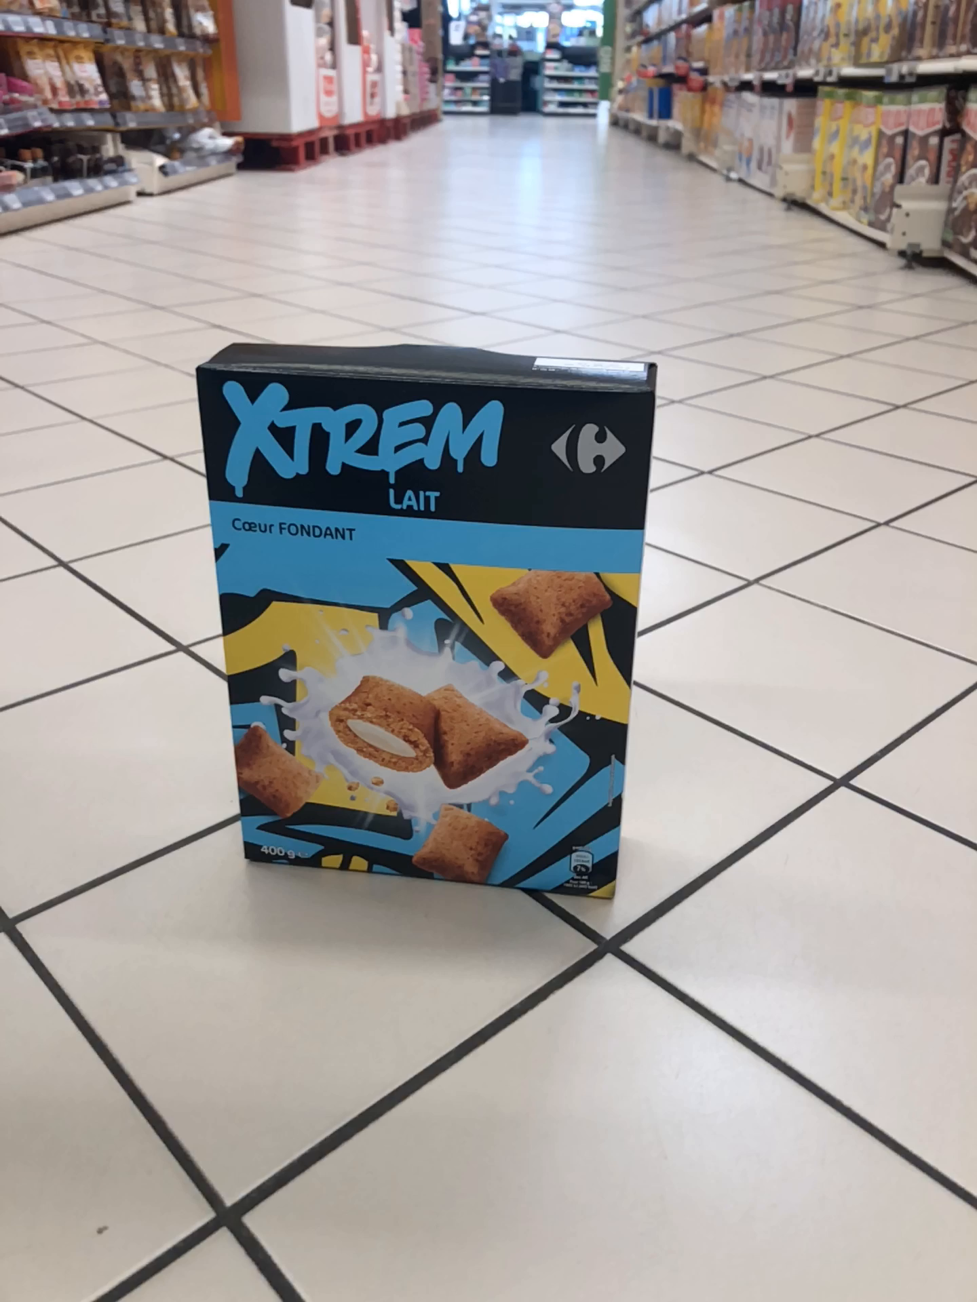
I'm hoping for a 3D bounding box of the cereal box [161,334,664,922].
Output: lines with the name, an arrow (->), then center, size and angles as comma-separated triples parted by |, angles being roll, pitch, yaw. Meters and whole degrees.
cereal box -> -0.030, -0.006, 0.505 | 0.200, 0.259, 0.060 | 5, 27, 8
